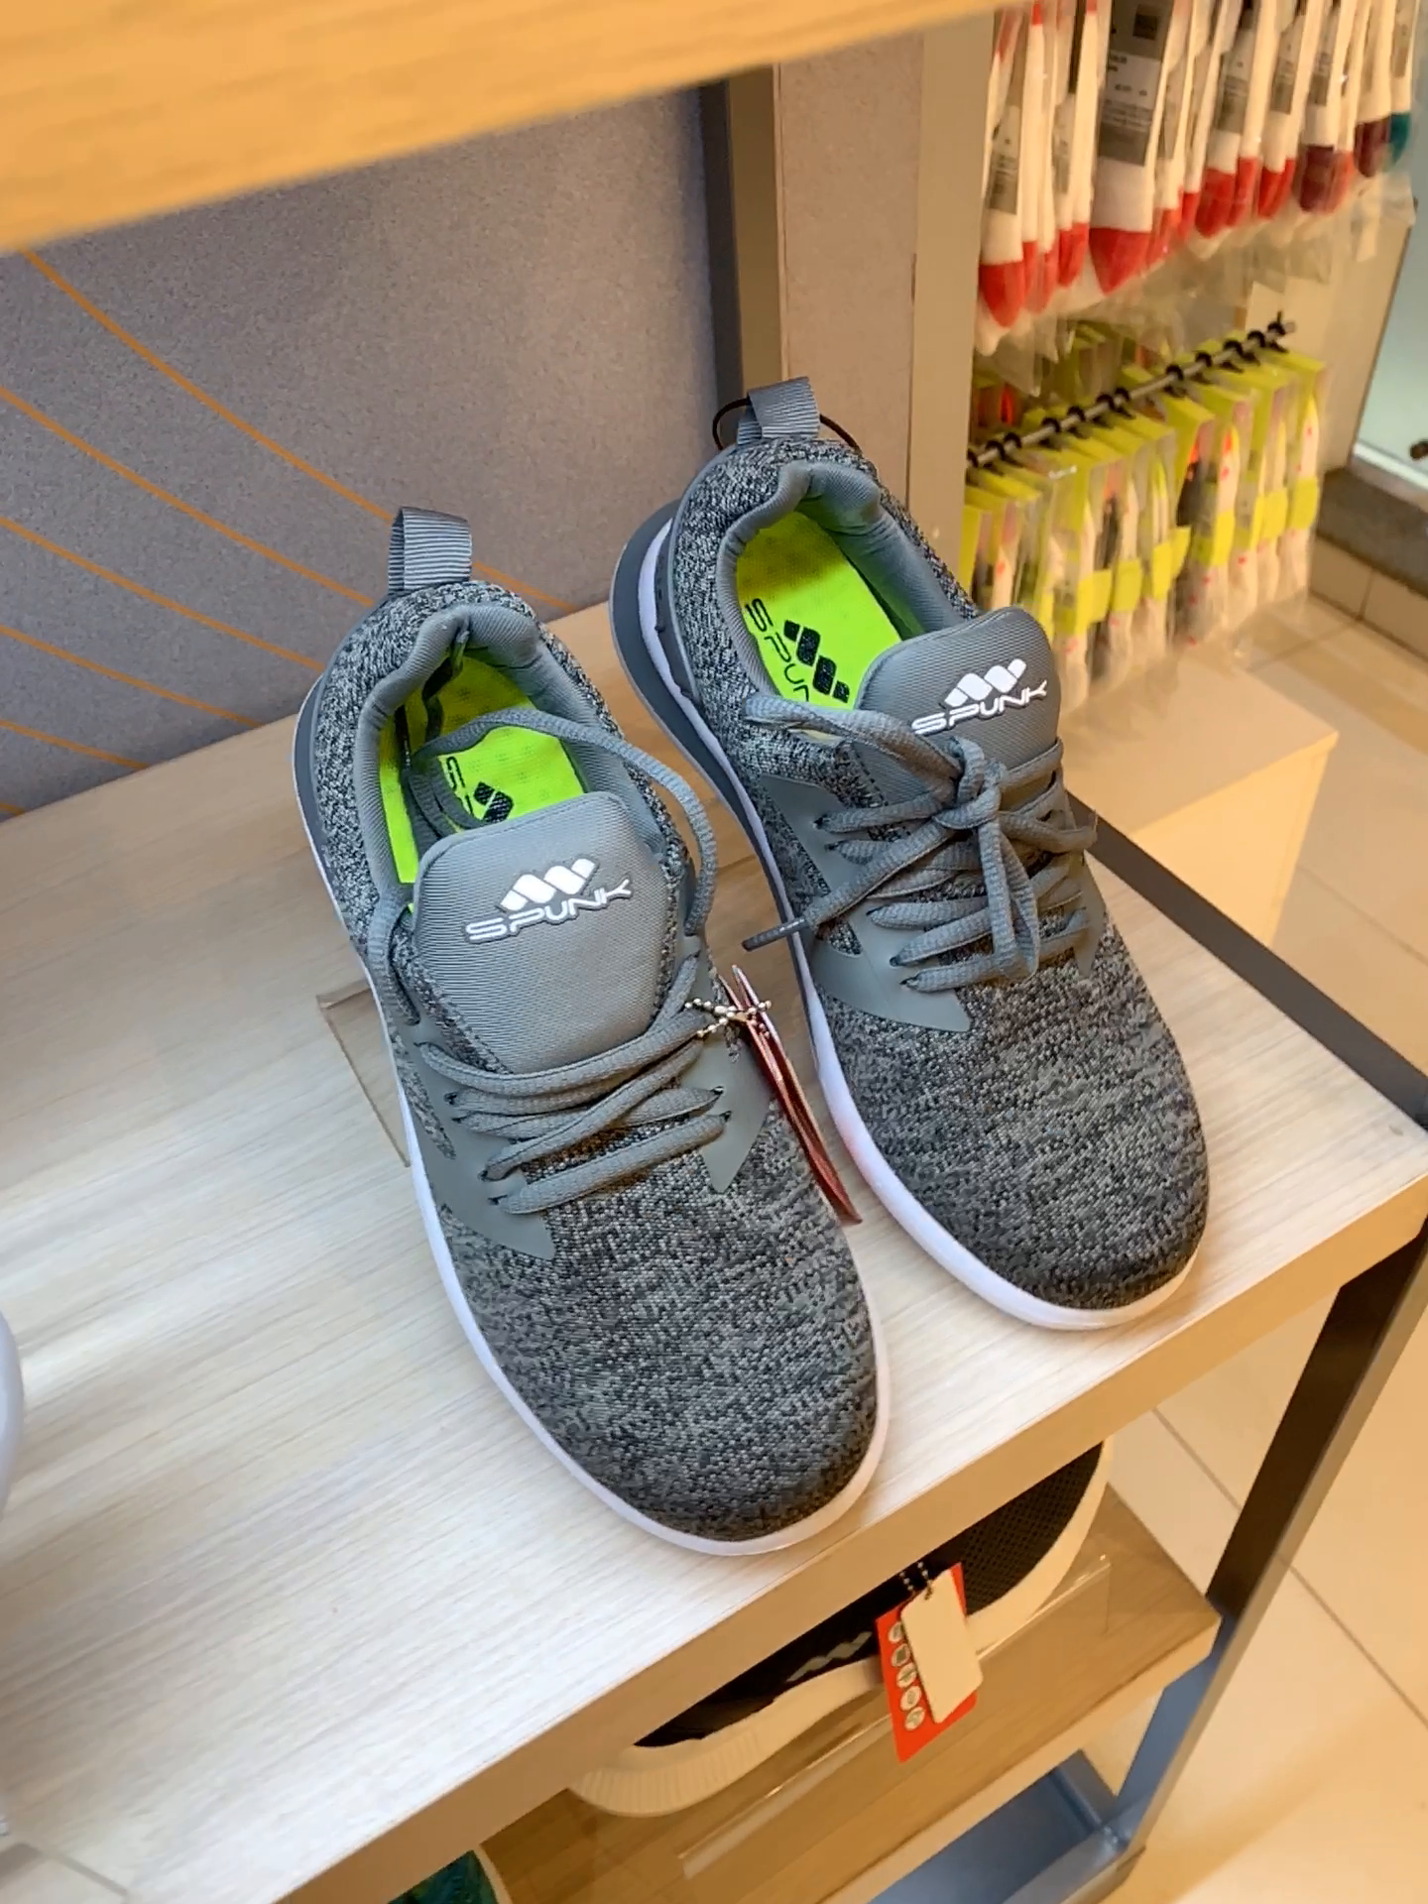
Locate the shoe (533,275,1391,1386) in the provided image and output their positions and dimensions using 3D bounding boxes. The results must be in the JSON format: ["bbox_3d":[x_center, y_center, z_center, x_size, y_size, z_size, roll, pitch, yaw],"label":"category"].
[{"bbox_3d":[0.052,-0.029,0.364,0.090,0.080,0.240,-23,85,-19],"label":"shoe"}]

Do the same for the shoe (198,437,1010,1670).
[{"bbox_3d":[-0.032,0.017,0.336,0.080,0.080,0.241,-21,80,-15],"label":"shoe"}]
